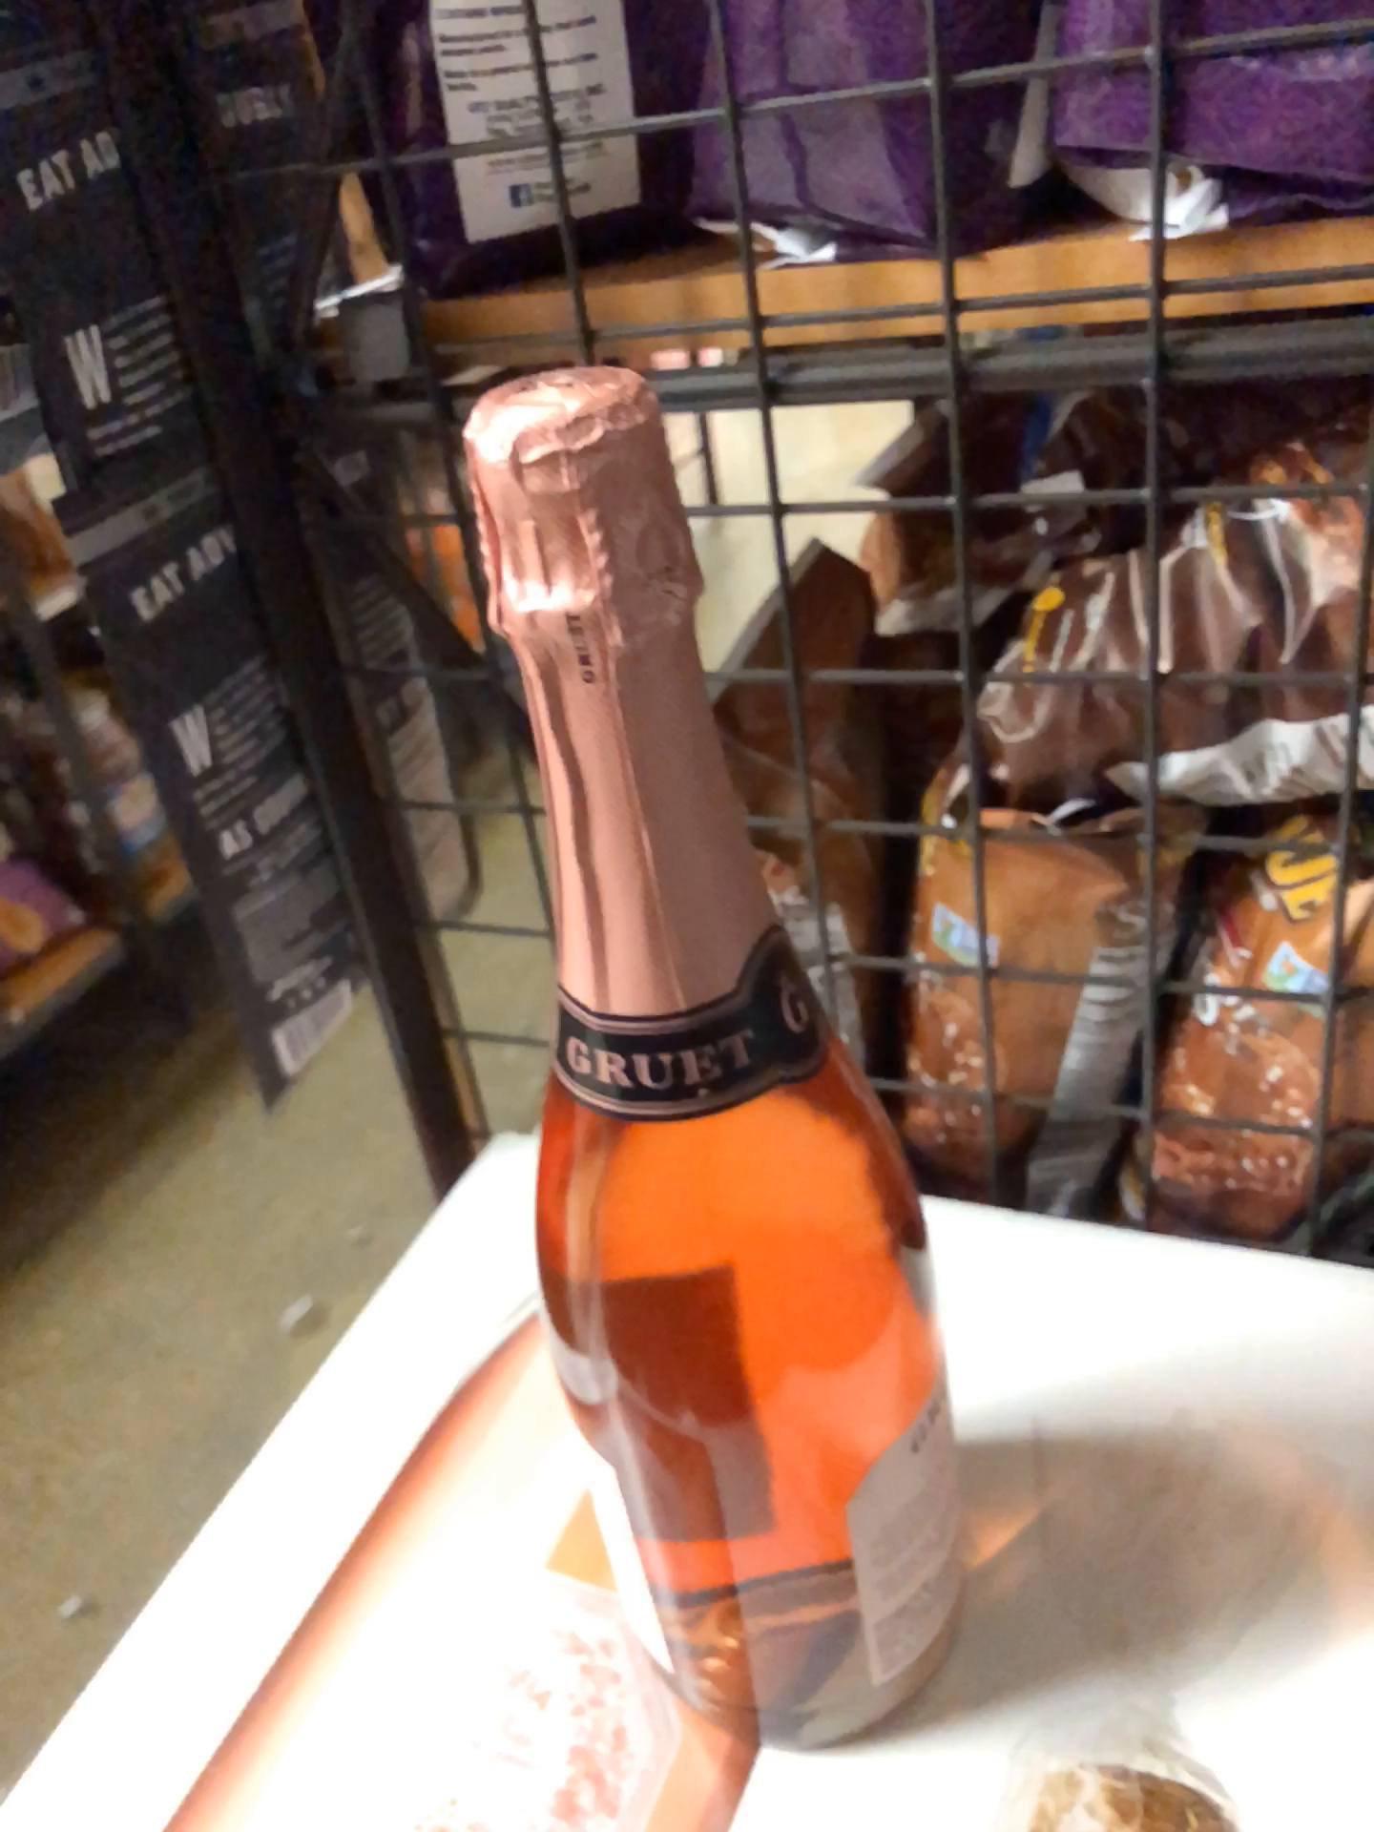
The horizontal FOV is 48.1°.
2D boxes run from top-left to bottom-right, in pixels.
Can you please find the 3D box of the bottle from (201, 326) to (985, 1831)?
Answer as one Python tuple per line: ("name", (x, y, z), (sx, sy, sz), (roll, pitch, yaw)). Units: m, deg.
("bottle", (0.006, 0.053, 0.323), (0.090, 0.311, 0.090), (-7, 30, 4))
